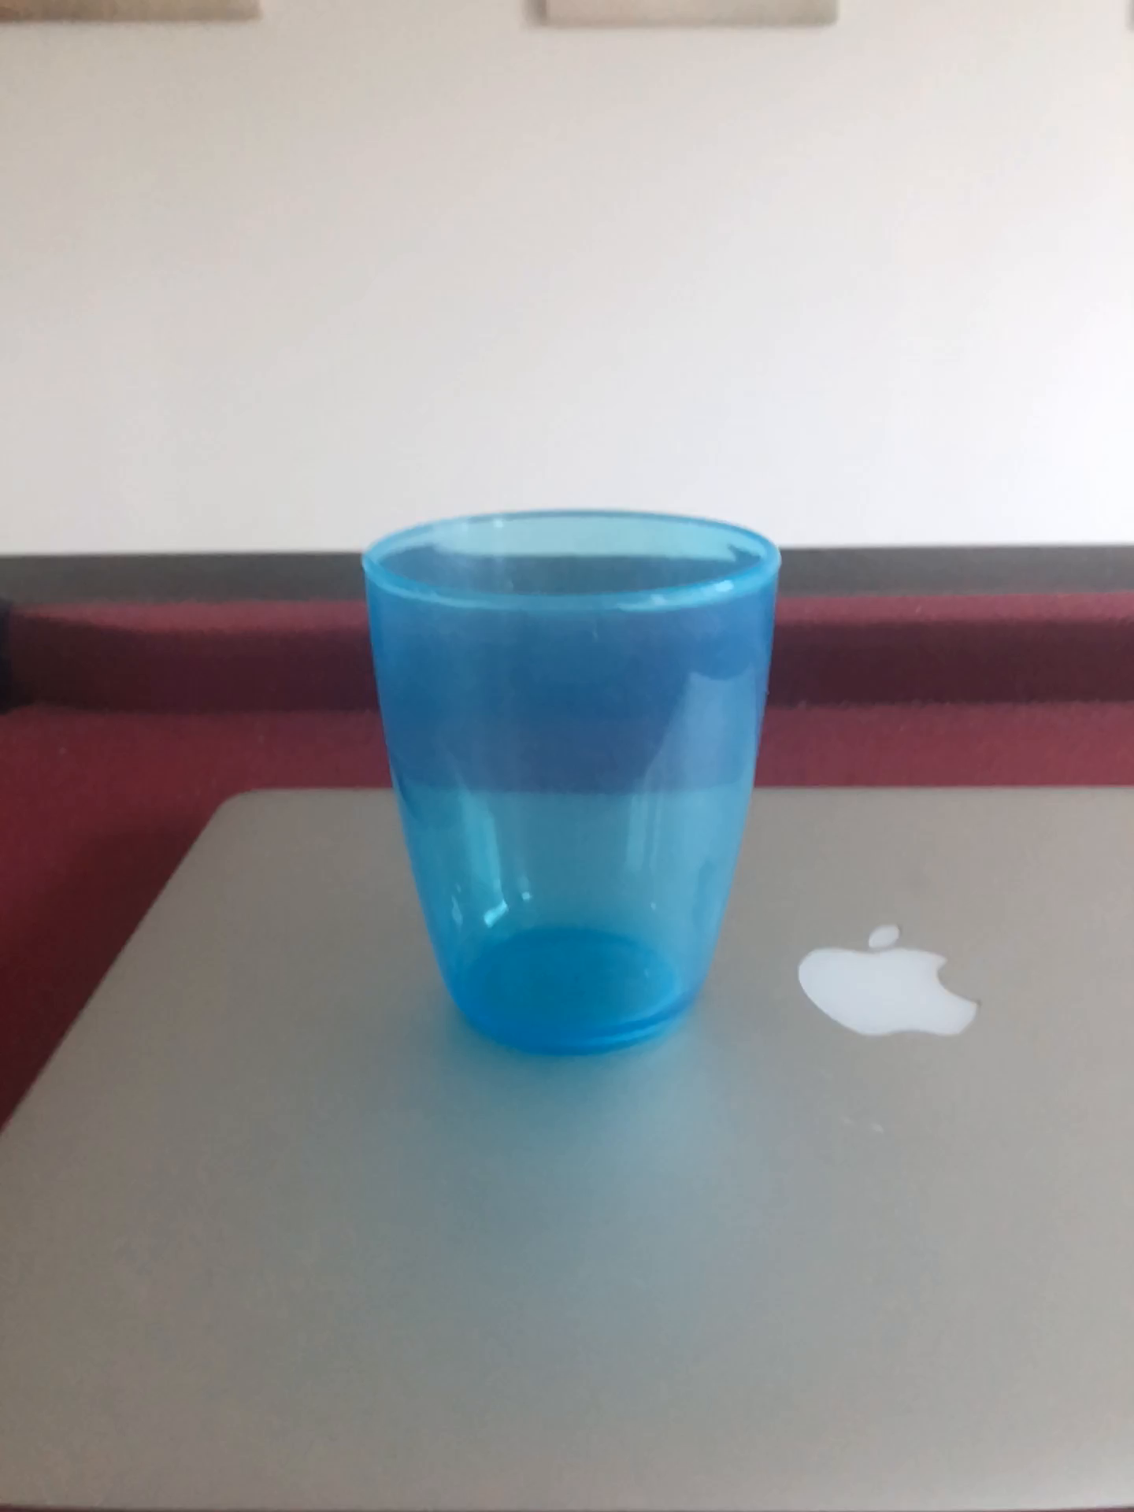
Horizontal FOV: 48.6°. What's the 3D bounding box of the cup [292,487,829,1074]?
[{"bbox_3d":[0.001,0.001,0.265,0.090,0.100,0.080,0,21,2],"label":"cup"}]
